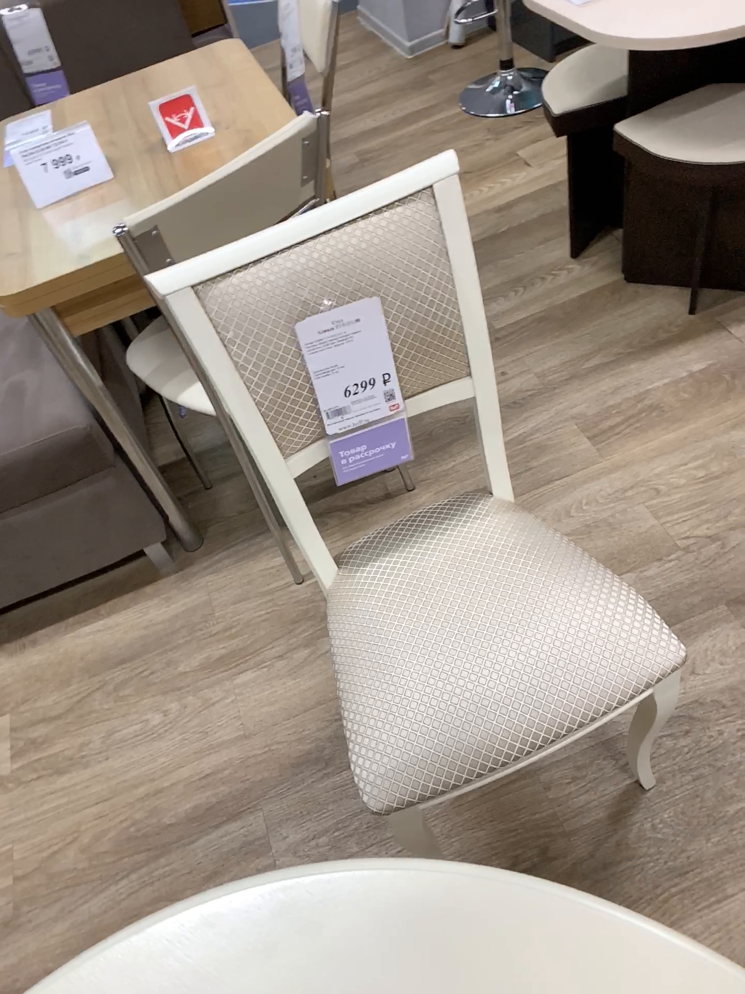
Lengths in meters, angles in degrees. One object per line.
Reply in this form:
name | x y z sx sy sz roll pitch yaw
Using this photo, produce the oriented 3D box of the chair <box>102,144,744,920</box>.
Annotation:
chair | 0.088 0.125 1.083 0.460 0.926 0.512 -25 48 -6
